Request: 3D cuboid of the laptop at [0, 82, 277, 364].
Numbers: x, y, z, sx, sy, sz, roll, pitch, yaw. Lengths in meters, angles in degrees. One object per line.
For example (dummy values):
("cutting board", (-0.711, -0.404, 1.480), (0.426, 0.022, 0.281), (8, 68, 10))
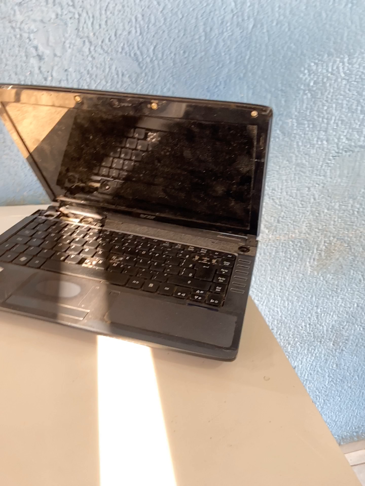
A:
("laptop", (-0.082, -0.057, 0.425), (0.334, 0.182, 0.229), (10, 31, 13))
